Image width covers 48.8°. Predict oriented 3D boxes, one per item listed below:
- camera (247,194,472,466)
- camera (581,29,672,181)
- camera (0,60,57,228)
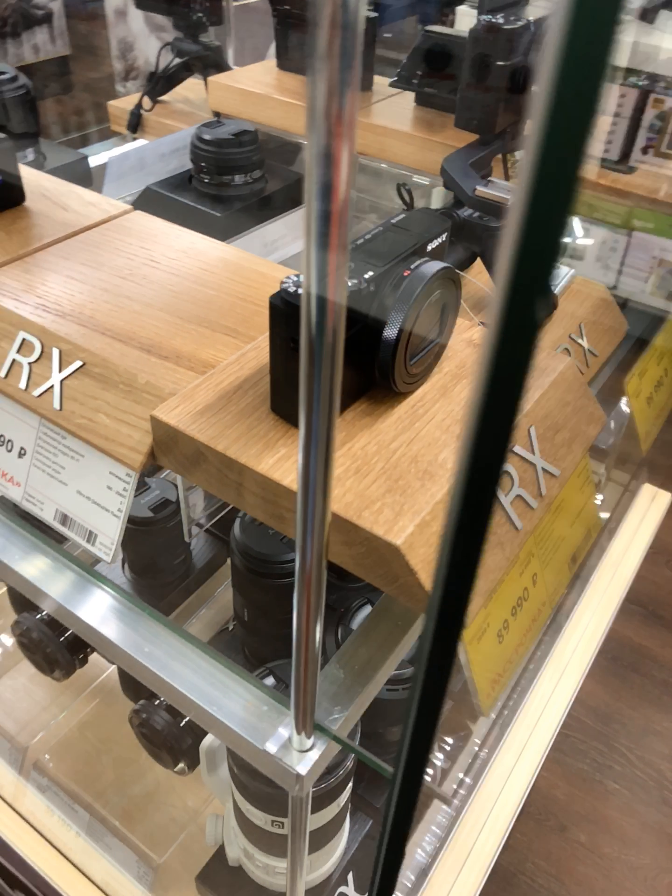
[{"bbox_3d":[0.011,-0.053,0.315,0.040,0.070,0.100,26,46,24],"label":"camera"},{"bbox_3d":[0.238,-0.261,0.559,0.040,0.070,0.143,26,46,24],"label":"camera"},{"bbox_3d":[-0.196,-0.170,0.414,0.052,0.070,0.040,25,45,23],"label":"camera"}]
